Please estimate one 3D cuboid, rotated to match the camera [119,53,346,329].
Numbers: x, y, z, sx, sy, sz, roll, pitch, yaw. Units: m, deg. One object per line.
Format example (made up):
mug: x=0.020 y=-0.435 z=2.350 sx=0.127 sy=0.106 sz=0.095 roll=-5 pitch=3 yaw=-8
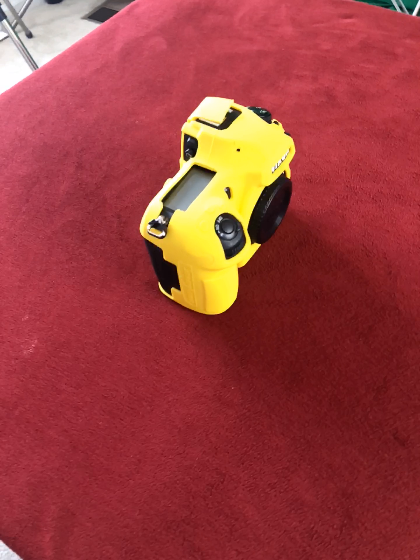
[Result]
camera: x=0.023 y=-0.069 z=0.359 sx=0.082 sy=0.116 sz=0.160 roll=26 pitch=61 yaw=19
